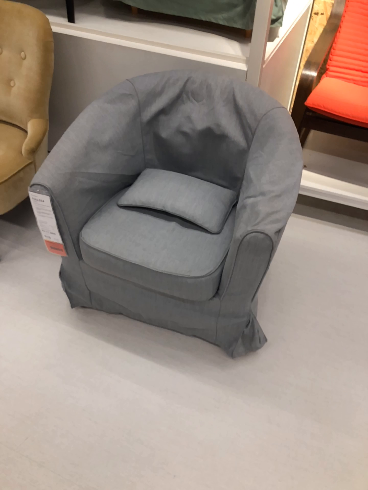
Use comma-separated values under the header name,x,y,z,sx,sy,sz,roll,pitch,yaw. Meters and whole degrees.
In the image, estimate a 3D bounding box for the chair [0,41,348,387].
name,x,y,z,sx,sy,sz,roll,pitch,yaw
chair,-0.005,-0.134,1.472,0.871,0.795,0.724,15,48,13
